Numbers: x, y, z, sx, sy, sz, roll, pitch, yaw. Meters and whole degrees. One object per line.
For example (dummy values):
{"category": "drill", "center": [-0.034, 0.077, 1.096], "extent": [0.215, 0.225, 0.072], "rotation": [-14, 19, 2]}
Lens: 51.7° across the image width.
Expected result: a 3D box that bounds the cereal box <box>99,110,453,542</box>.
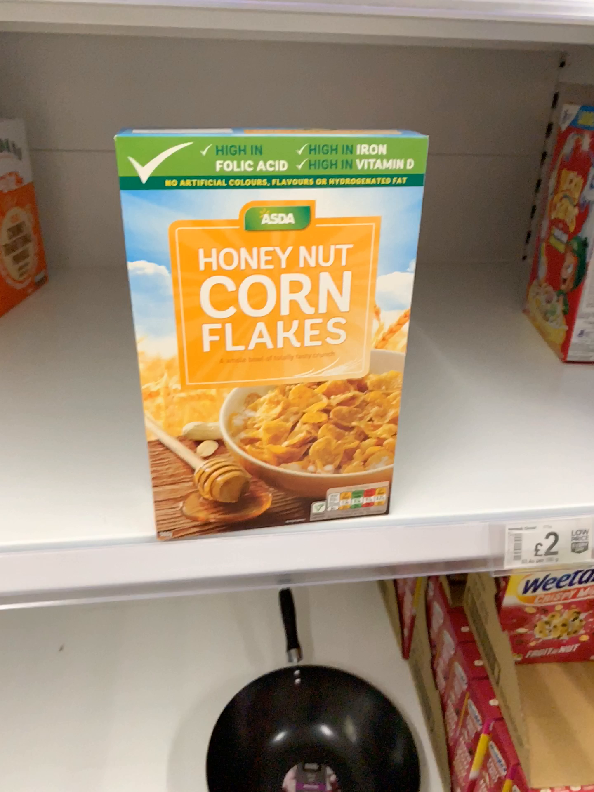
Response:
{"category": "cereal box", "center": [-0.017, -0.042, 0.438], "extent": [0.200, 0.287, 0.071], "rotation": [-4, 28, -10]}
